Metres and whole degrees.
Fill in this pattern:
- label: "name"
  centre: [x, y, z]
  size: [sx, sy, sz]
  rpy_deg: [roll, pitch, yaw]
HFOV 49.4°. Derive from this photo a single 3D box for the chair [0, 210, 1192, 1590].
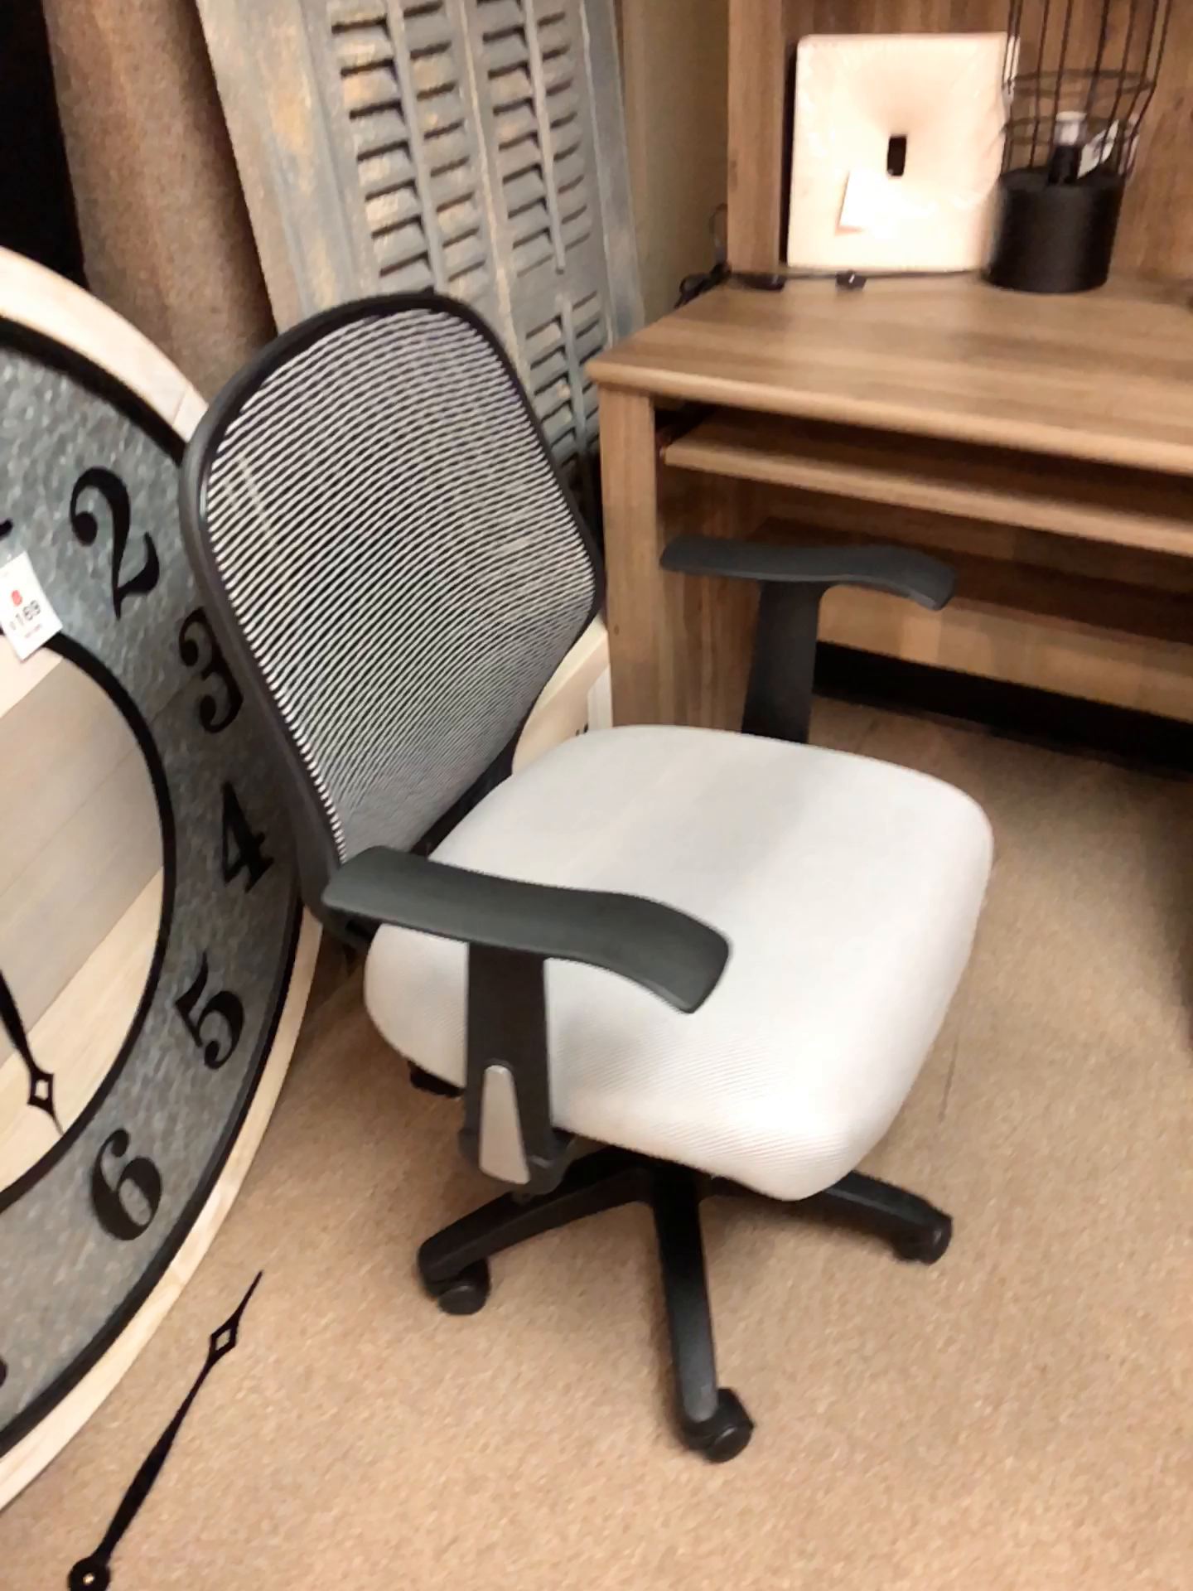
- label: "chair"
  centre: [0.076, 0.037, 1.128]
  size: [0.671, 0.864, 0.613]
  rpy_deg: [14, 39, 24]
